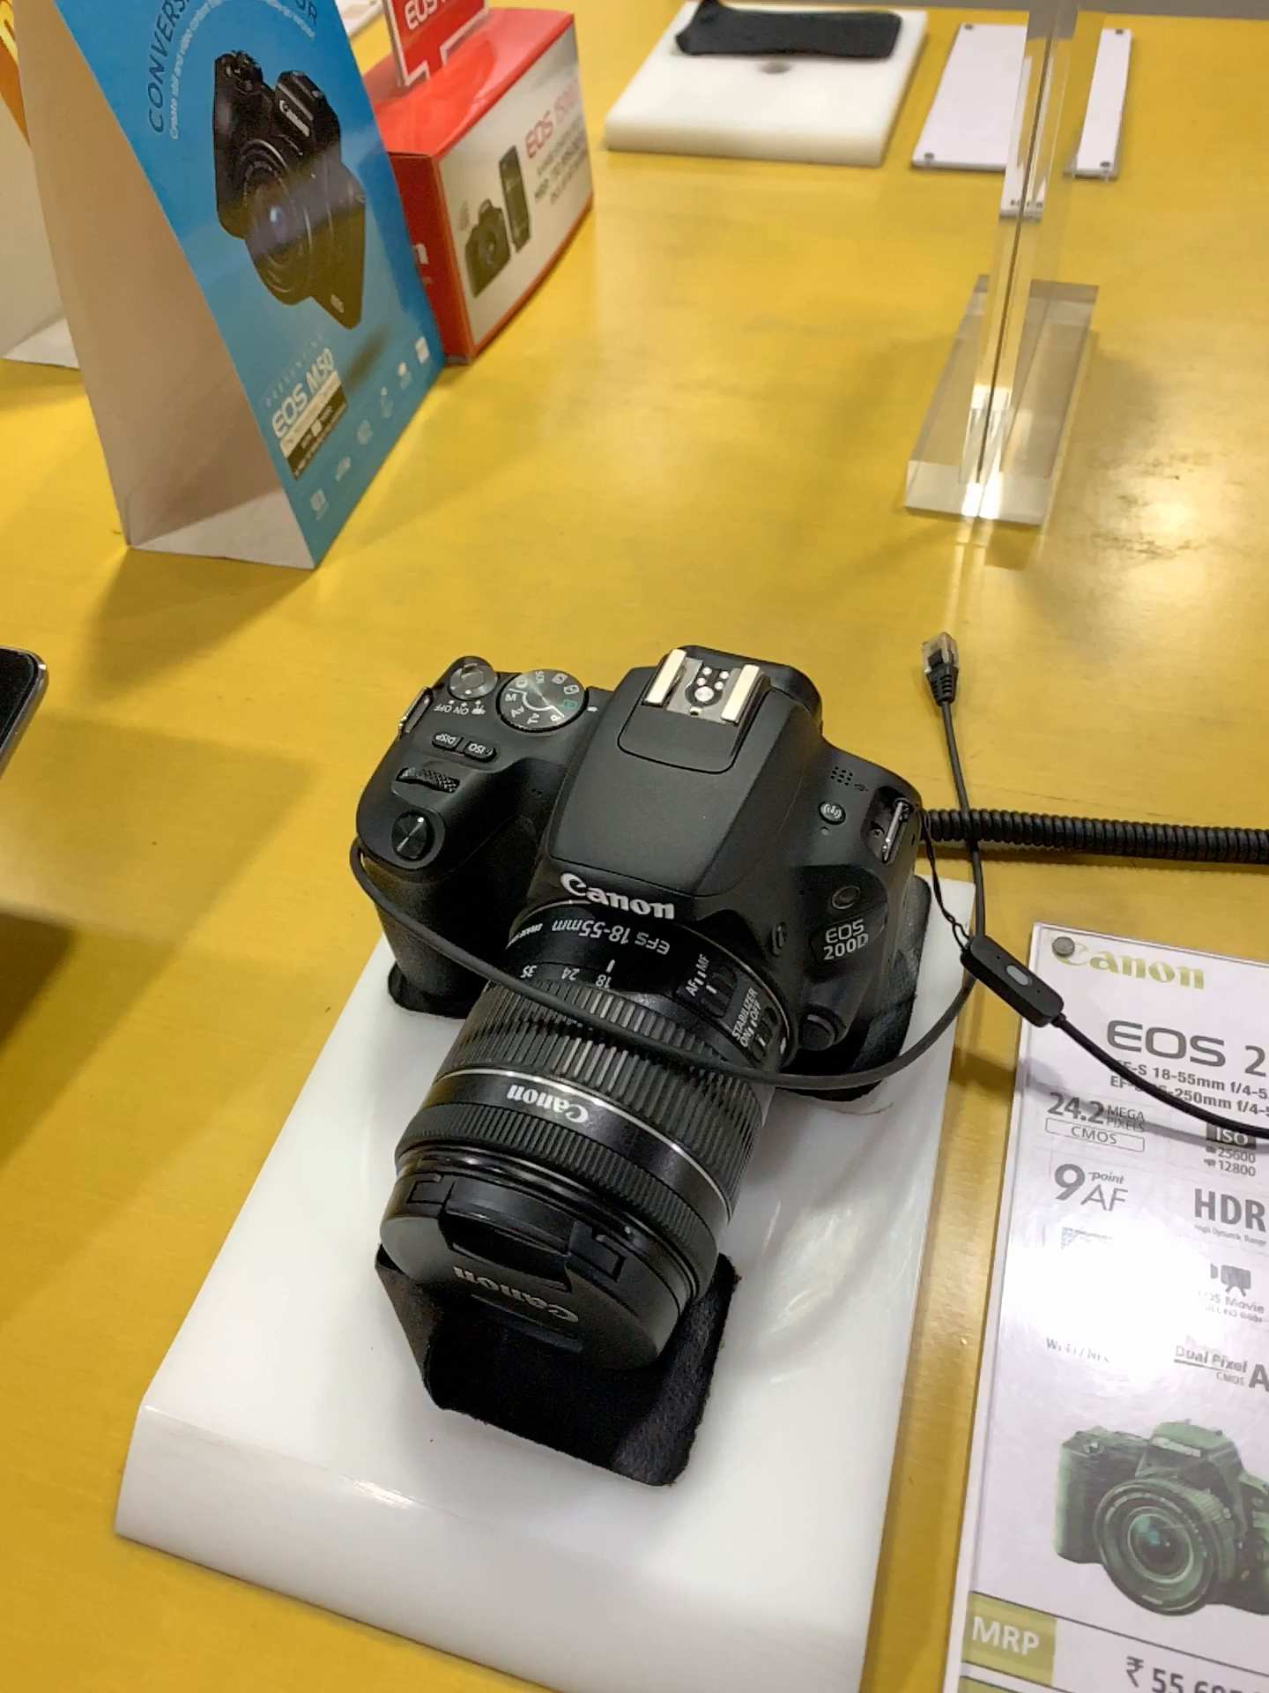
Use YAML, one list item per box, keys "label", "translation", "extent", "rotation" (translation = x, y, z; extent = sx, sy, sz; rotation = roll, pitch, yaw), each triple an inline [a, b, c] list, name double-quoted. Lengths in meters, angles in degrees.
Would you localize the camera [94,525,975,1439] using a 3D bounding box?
- label: "camera"
  translation: [-0.006, 0.016, 0.279]
  extent: [0.120, 0.070, 0.160]
  rotation: [13, 51, 15]
